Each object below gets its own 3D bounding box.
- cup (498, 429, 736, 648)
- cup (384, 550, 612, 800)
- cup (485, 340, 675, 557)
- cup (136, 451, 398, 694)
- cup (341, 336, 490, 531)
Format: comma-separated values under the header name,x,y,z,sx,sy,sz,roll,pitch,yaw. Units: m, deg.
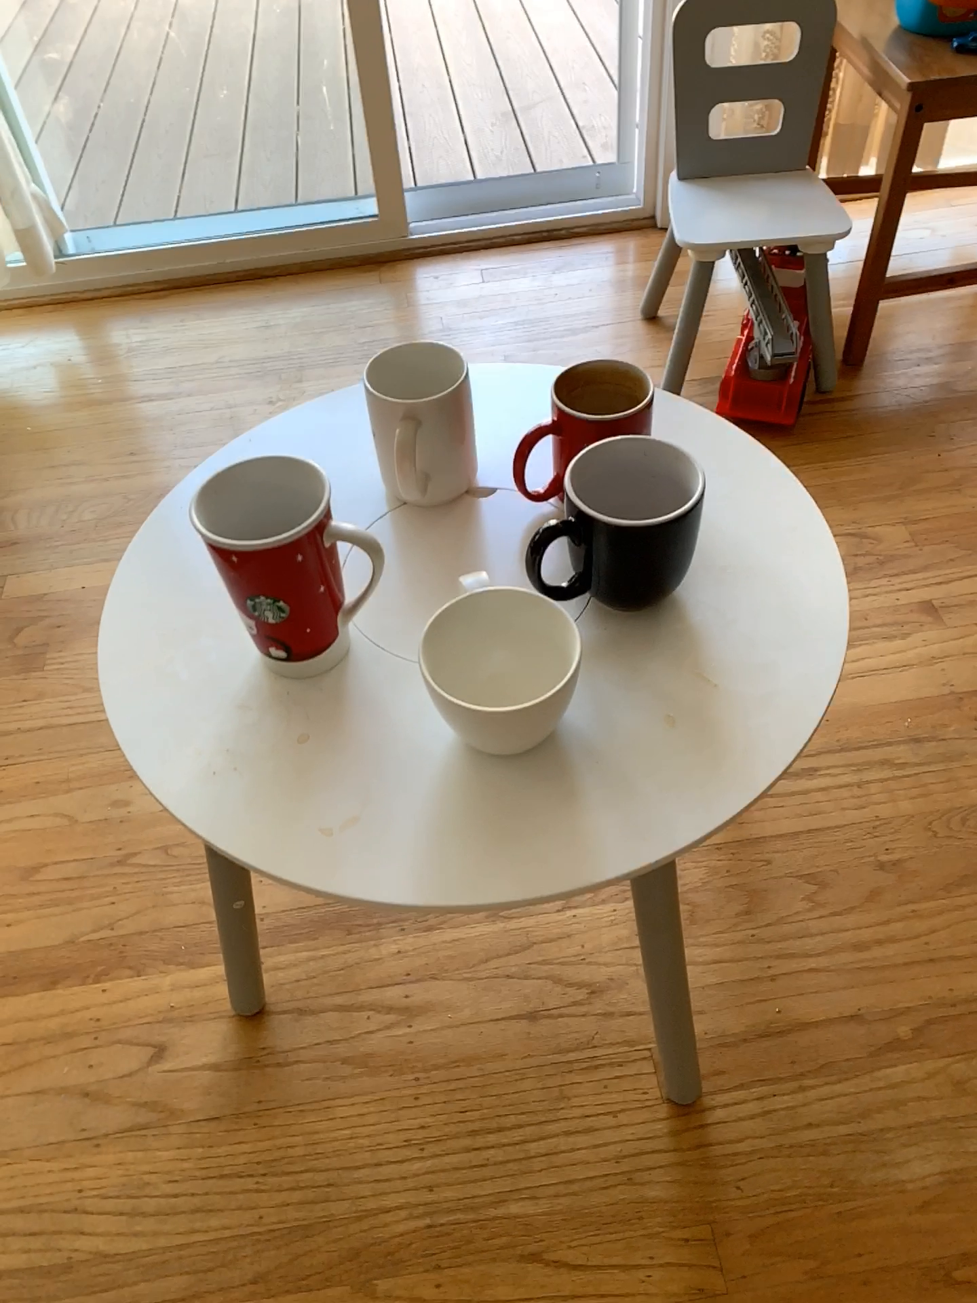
name,x,y,z,sx,sy,sz,roll,pitch,yaw
cup,0.084,-0.079,0.690,0.130,0.080,0.100,-13,49,-7
cup,0.003,0.012,0.631,0.110,0.060,0.131,-13,49,-7
cup,0.071,-0.159,0.777,0.120,0.100,0.080,-37,56,-25
cup,-0.141,-0.052,0.677,0.130,0.129,0.100,1,49,5
cup,-0.051,-0.170,0.773,0.100,0.090,0.120,-2,49,3
